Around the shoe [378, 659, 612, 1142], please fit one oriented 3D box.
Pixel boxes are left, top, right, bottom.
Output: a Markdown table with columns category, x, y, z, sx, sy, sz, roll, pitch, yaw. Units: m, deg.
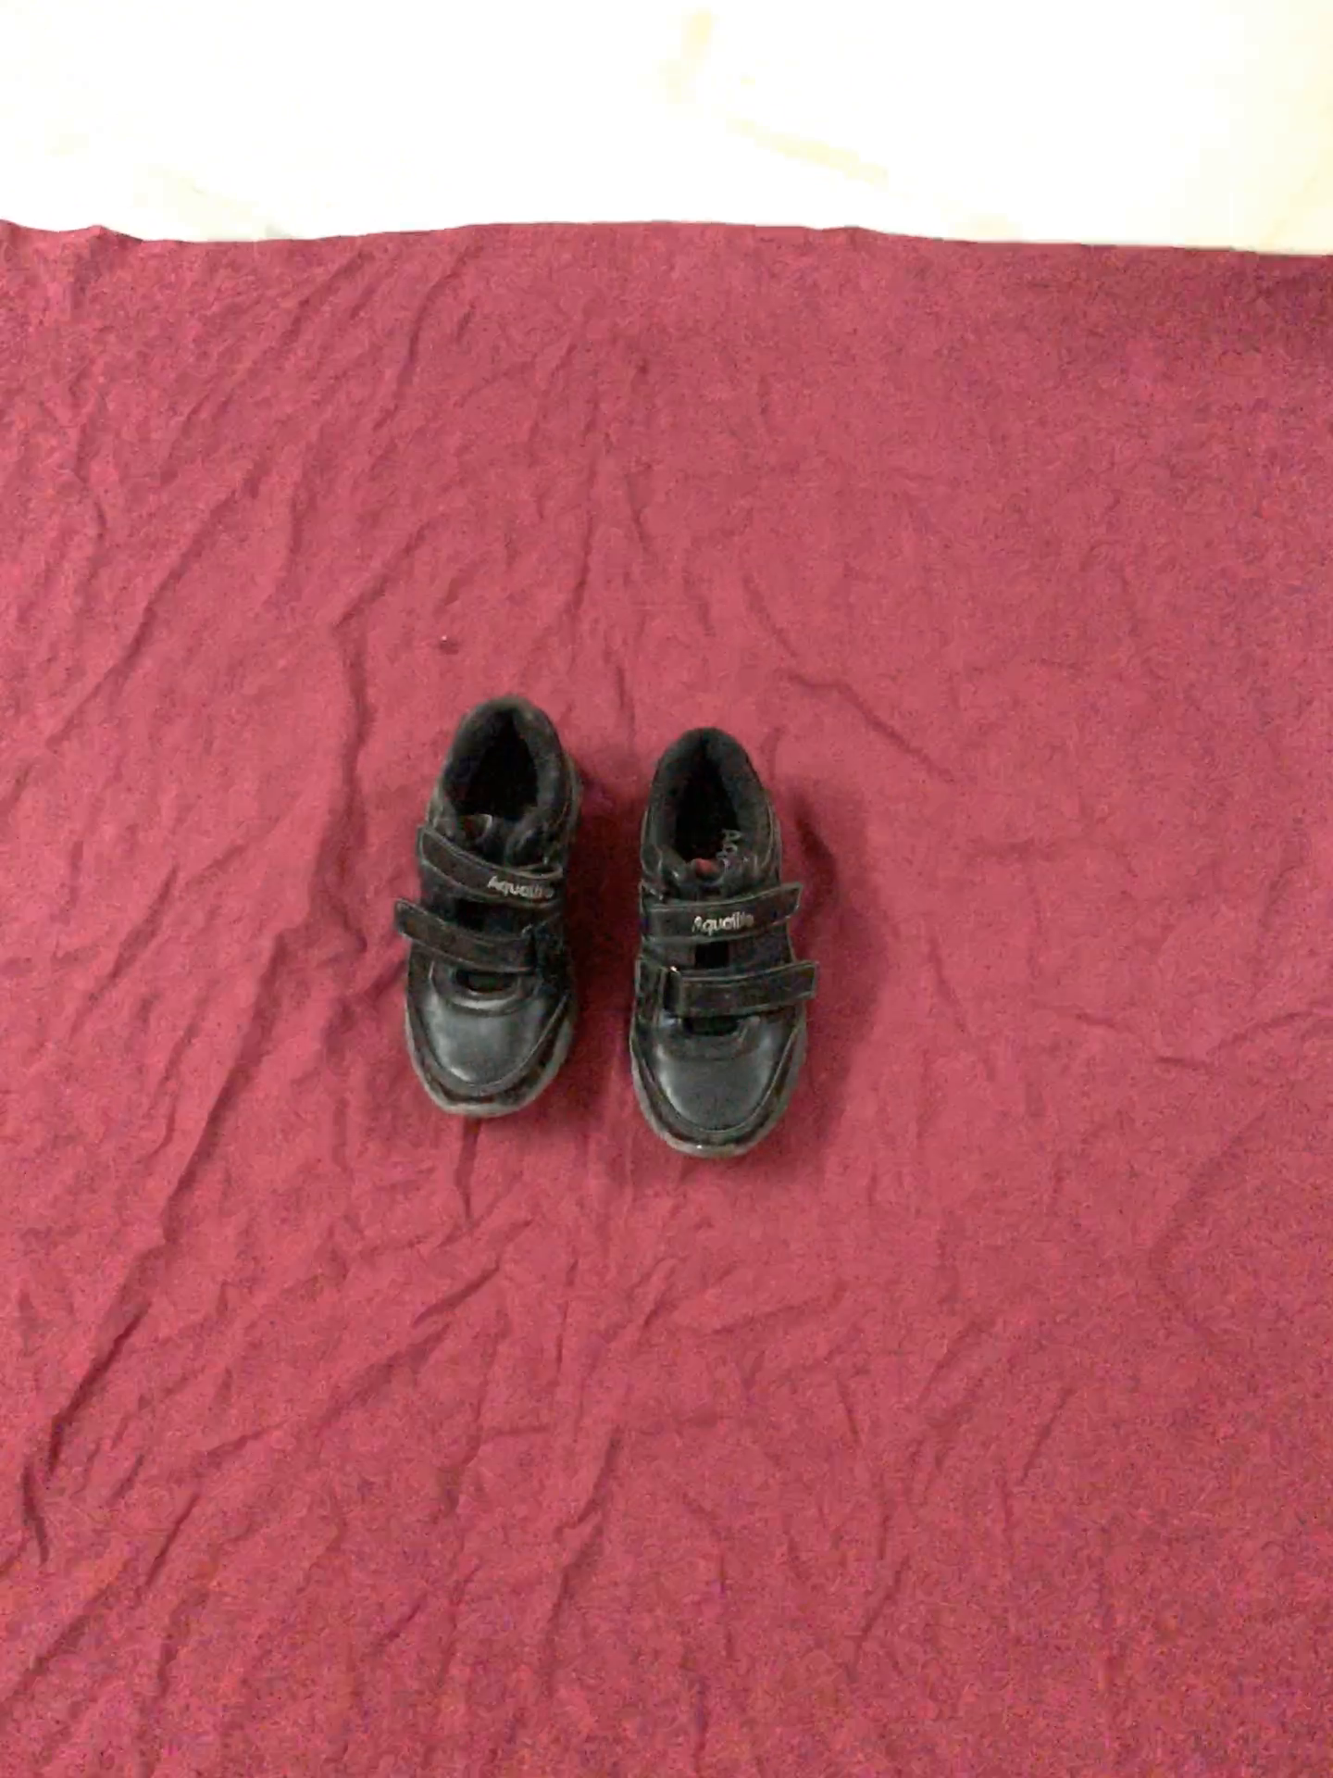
| category | x | y | z | sx | sy | sz | roll | pitch | yaw |
| --- | --- | --- | --- | --- | --- | --- | --- | --- | --- |
| shoe | -0.075 | 0.005 | 0.642 | 0.070 | 0.070 | 0.211 | 5 | 71 | 4 |

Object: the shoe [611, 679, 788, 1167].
| category | x | y | z | sx | sy | sz | roll | pitch | yaw |
| --- | --- | --- | --- | --- | --- | --- | --- | --- | --- |
| shoe | 0.018 | 0.015 | 0.626 | 0.070 | 0.070 | 0.211 | 1 | 71 | 3 |
